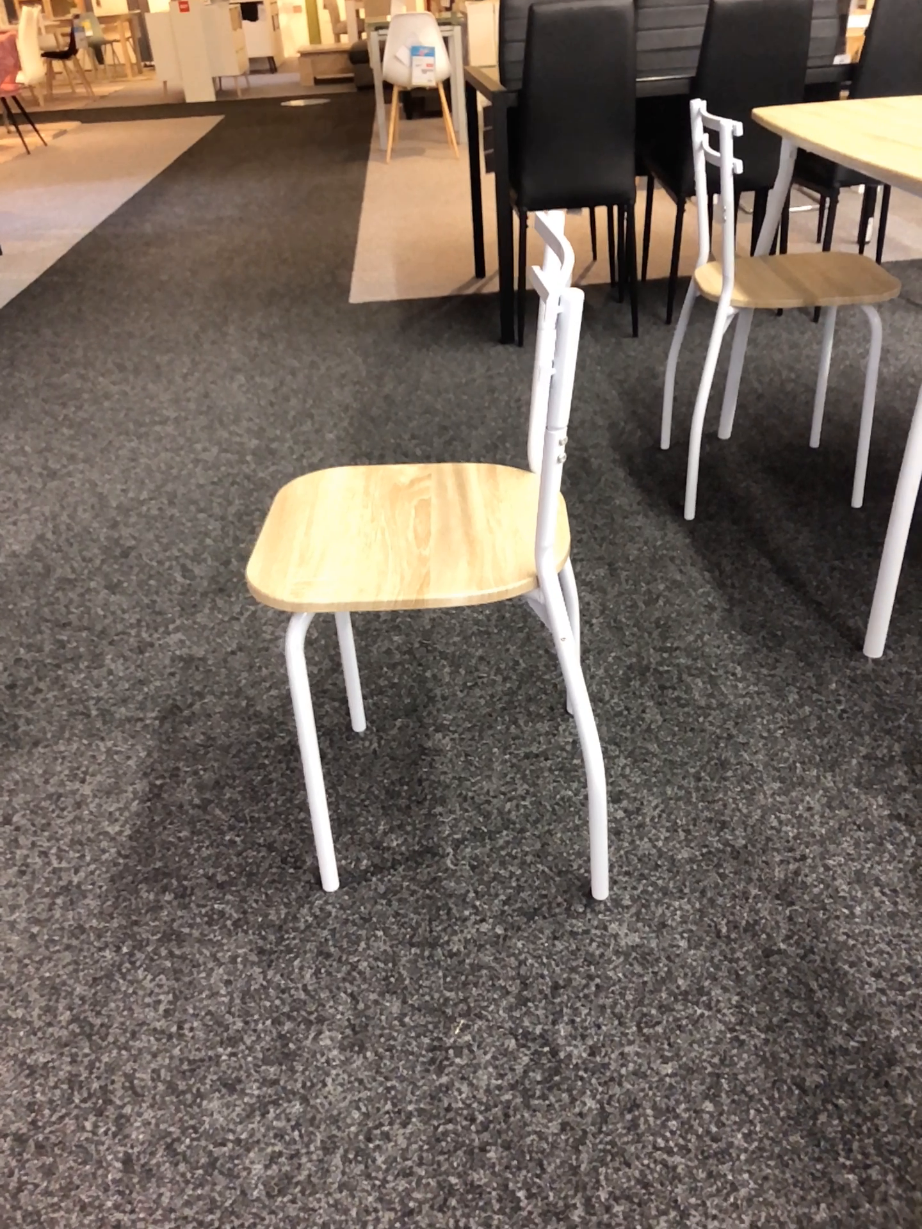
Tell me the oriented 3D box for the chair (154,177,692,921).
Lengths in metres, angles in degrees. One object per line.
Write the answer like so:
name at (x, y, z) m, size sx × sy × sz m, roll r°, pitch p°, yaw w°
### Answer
chair at (-0.024, -0.087, 1.230) m, size 0.440 × 0.726 × 0.503 m, roll -4°, pitch 33°, yaw -1°
